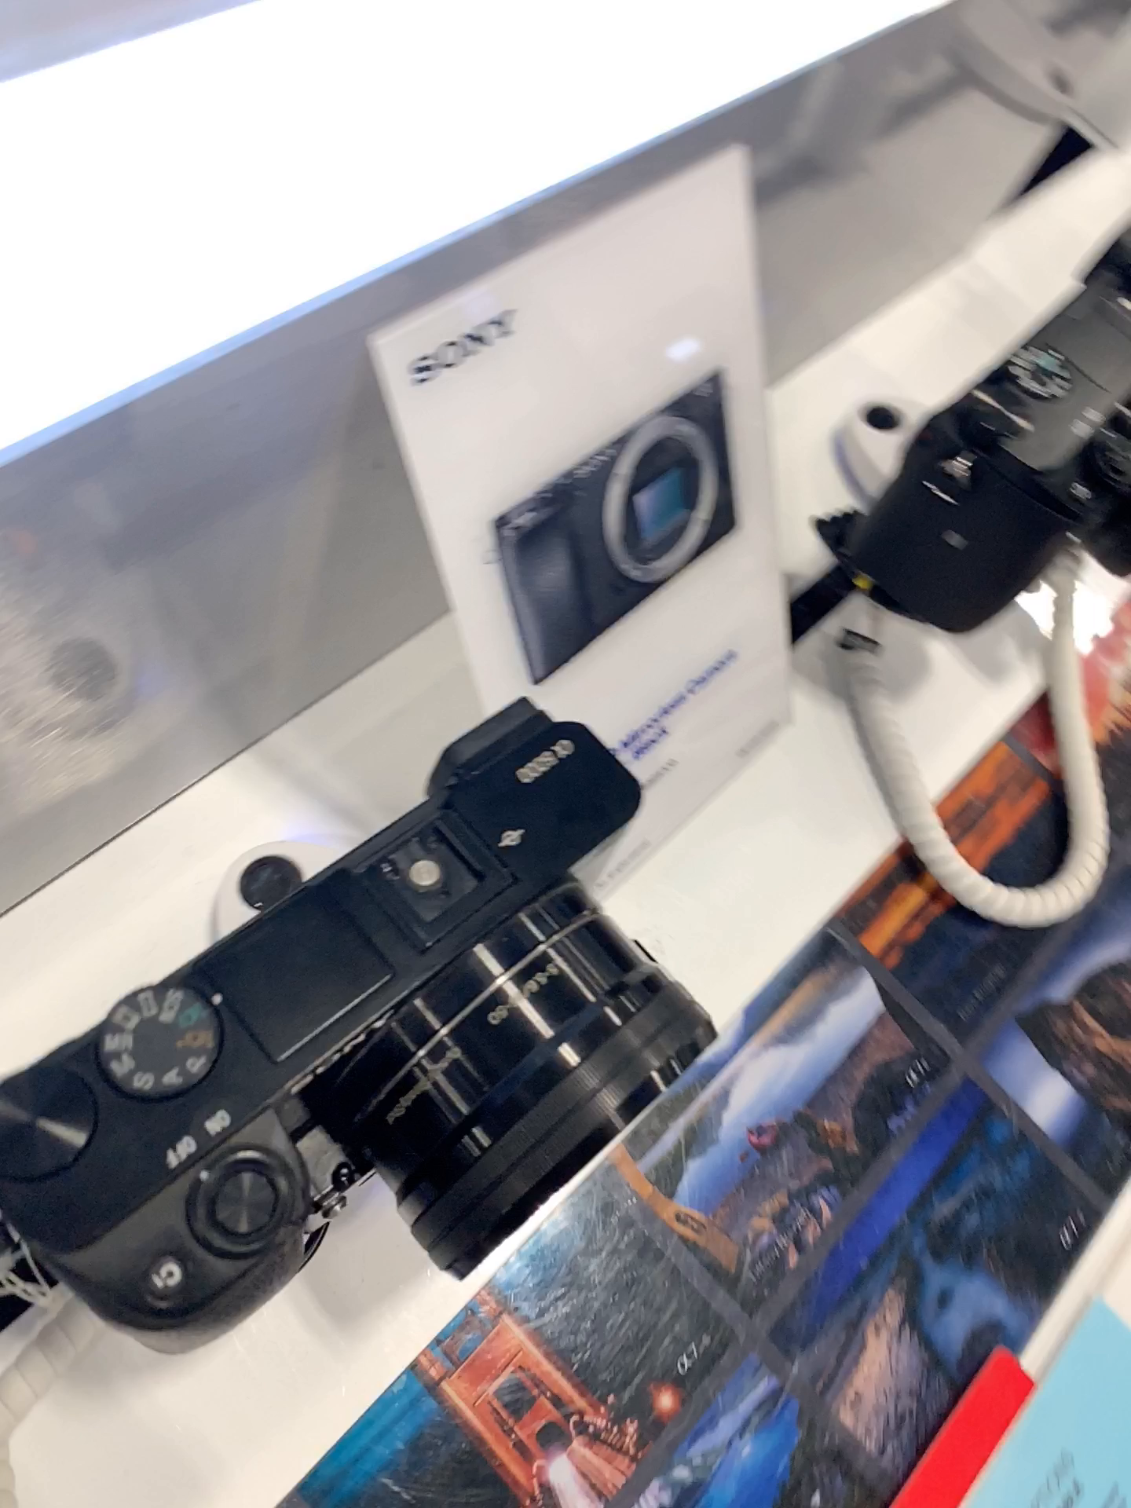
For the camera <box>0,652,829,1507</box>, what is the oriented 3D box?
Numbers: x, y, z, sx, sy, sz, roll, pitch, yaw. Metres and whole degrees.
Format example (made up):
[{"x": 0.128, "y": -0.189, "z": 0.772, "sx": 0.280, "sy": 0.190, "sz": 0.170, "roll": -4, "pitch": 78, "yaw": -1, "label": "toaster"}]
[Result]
[{"x": -0.030, "y": 0.055, "z": 0.198, "sx": 0.120, "sy": 0.074, "sz": 0.065, "roll": -37, "pitch": 72, "yaw": -27, "label": "camera"}]
